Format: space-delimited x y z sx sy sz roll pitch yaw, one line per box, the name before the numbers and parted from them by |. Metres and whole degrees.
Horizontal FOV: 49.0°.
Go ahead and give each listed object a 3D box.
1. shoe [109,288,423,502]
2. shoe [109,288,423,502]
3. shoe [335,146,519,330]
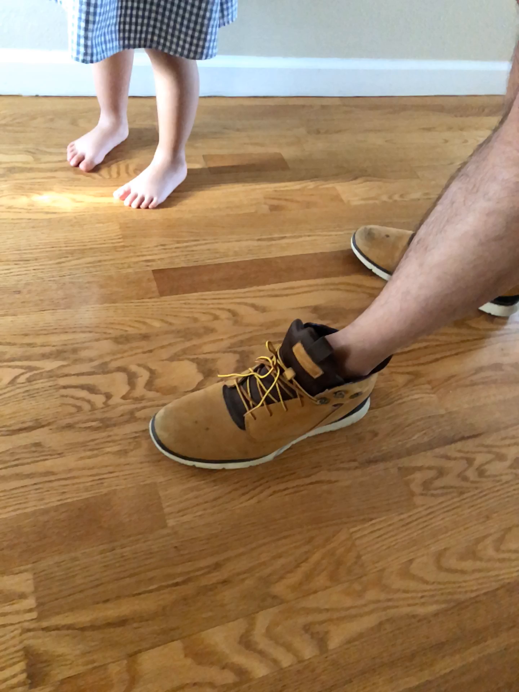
shoe | -0.001 0.049 0.651 0.311 0.139 0.130 -11 56 -21
shoe | -0.001 0.049 0.651 0.311 0.139 0.130 -11 56 -21
shoe | 0.313 -0.172 0.926 0.330 0.159 0.131 17 51 -1
